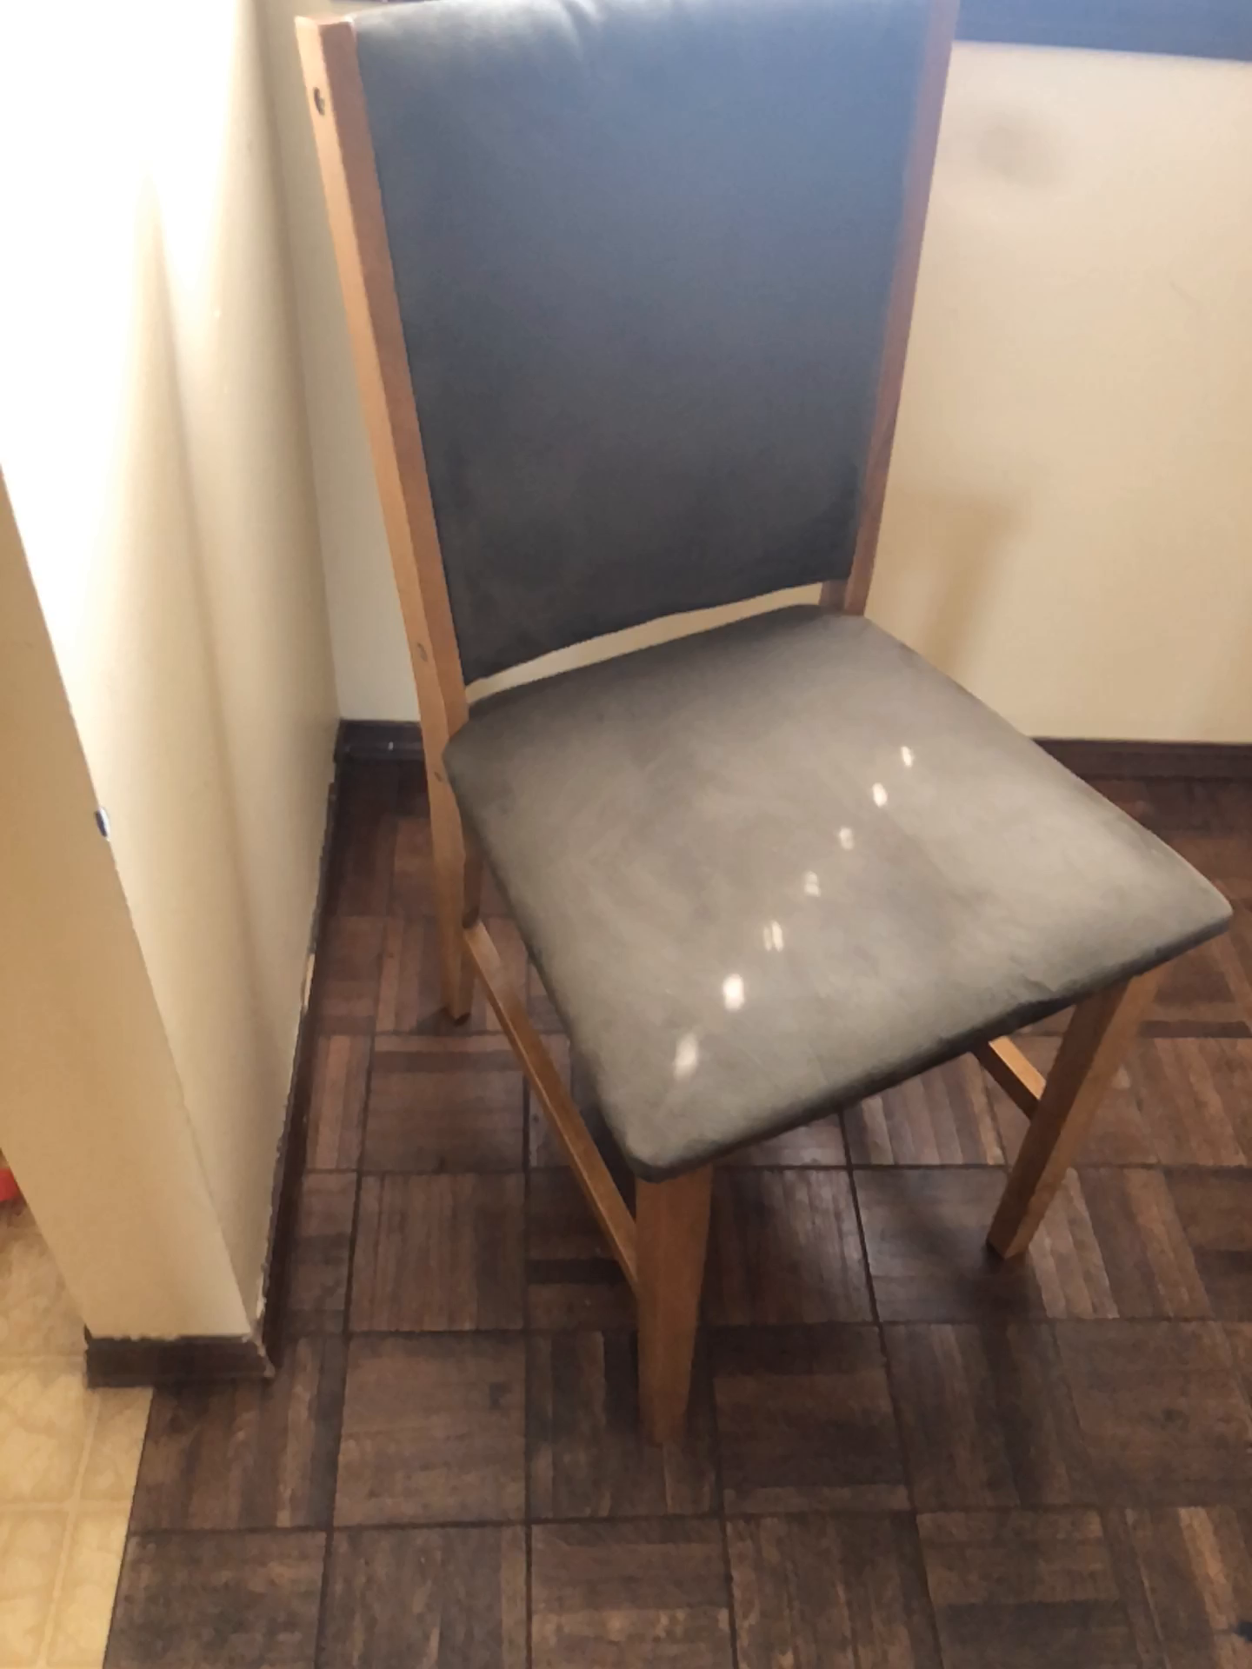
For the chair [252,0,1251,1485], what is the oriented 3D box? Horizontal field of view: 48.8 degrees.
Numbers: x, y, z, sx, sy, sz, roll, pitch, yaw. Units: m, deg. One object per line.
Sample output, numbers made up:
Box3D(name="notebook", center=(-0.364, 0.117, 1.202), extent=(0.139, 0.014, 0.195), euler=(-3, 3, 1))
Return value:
Box3D(name="chair", center=(0.119, -0.072, 0.964), extent=(0.490, 0.858, 0.511), euler=(-19, 47, -22))
